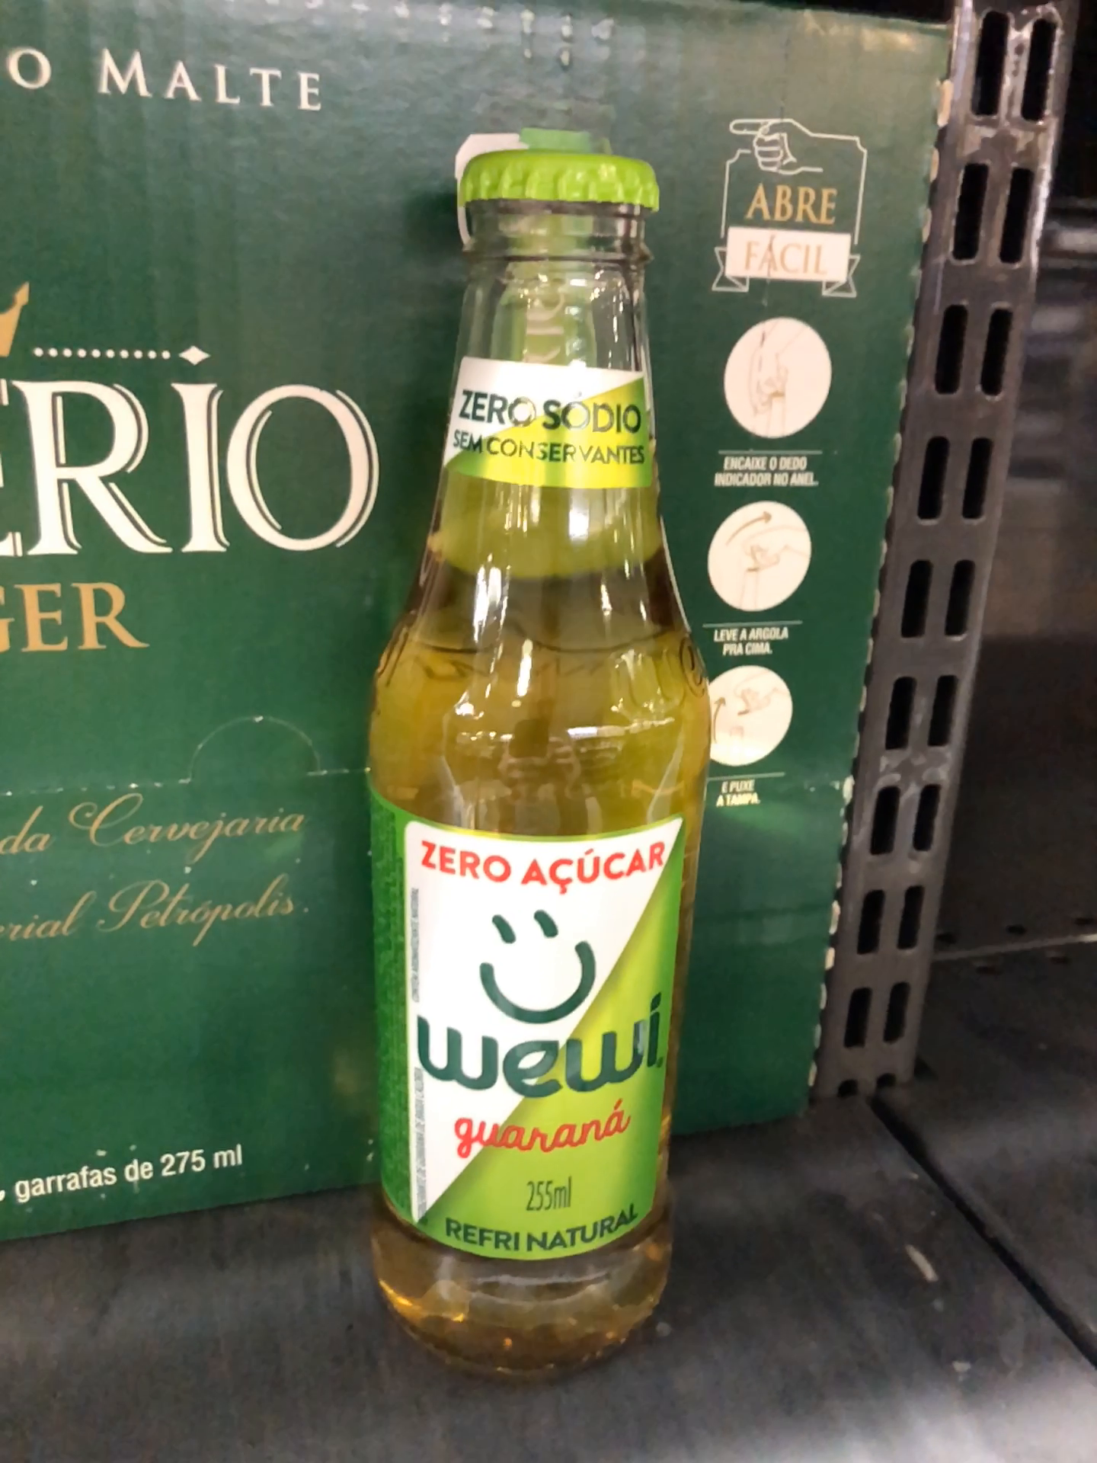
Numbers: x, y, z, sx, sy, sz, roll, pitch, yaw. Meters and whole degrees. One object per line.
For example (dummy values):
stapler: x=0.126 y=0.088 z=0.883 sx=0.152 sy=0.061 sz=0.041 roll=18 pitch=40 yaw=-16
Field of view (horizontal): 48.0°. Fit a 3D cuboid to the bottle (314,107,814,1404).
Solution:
bottle: x=-0.003 y=0.012 z=0.203 sx=0.060 sy=0.199 sz=0.050 roll=1 pitch=19 yaw=-4
